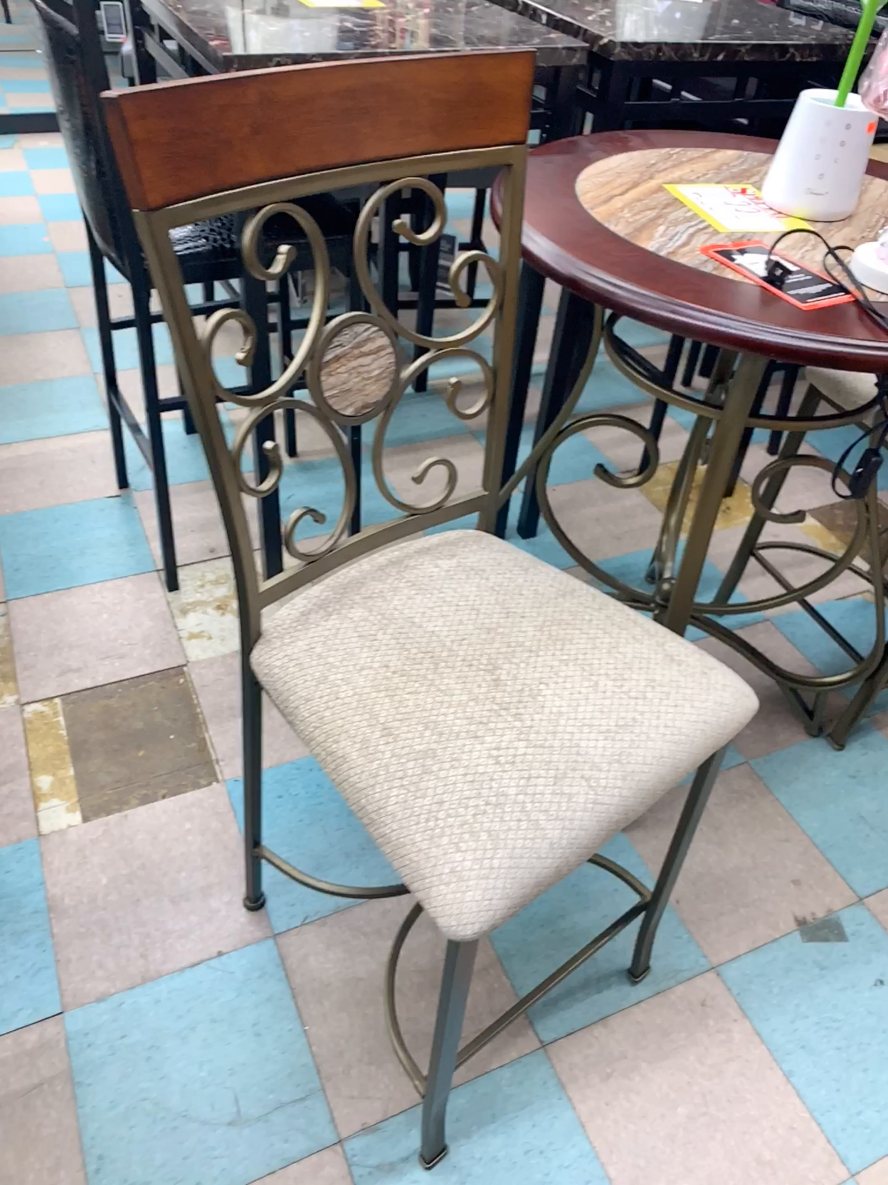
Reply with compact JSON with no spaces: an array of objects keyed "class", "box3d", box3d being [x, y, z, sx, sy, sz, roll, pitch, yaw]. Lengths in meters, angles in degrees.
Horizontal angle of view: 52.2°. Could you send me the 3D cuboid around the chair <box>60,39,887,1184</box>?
[{"class":"chair","box3d":[0.040,0.071,1.018,0.511,1.074,0.561,-25,50,-31]}]
